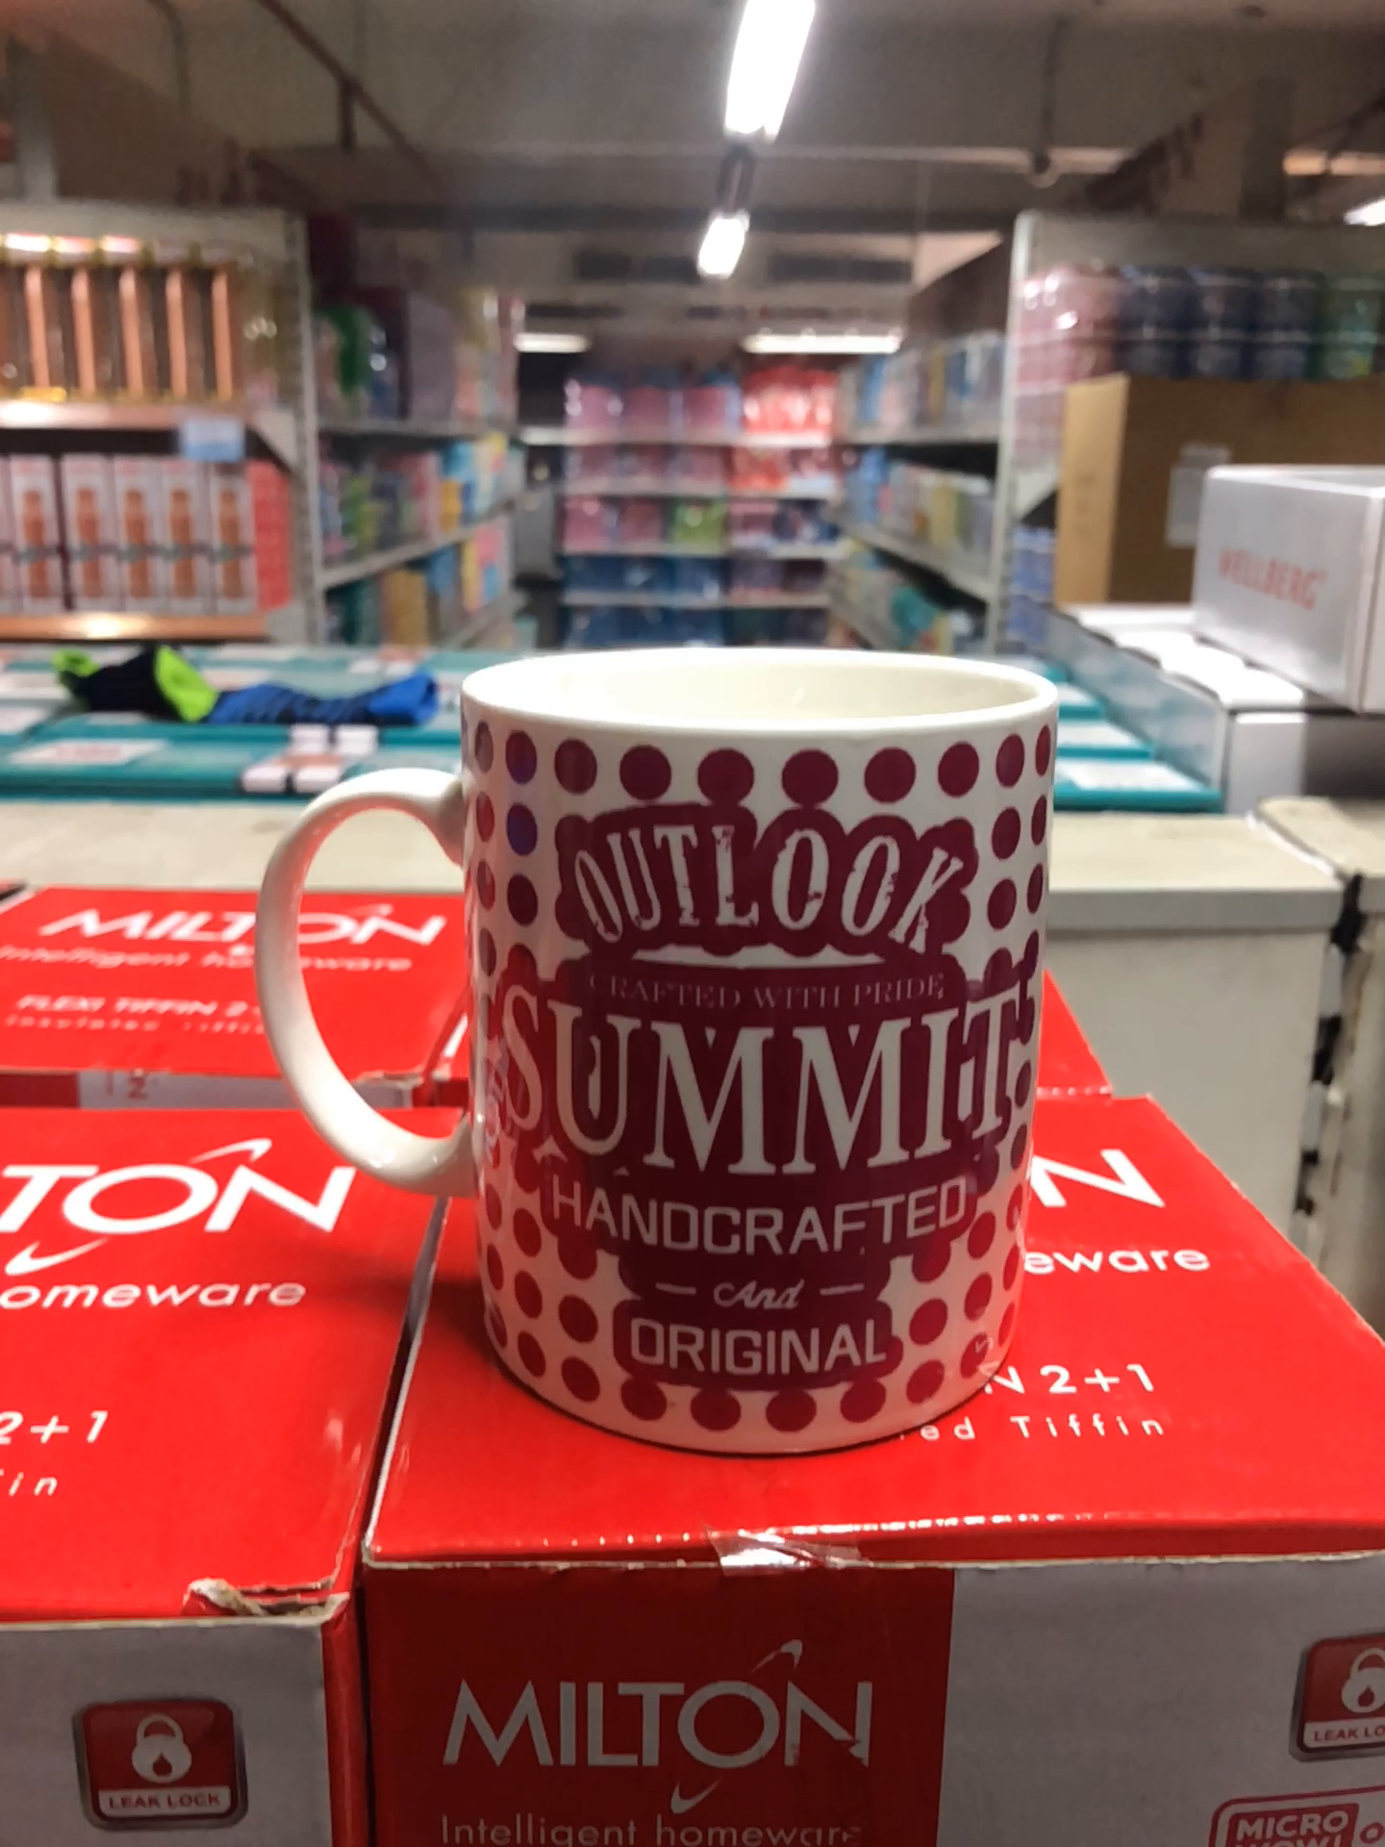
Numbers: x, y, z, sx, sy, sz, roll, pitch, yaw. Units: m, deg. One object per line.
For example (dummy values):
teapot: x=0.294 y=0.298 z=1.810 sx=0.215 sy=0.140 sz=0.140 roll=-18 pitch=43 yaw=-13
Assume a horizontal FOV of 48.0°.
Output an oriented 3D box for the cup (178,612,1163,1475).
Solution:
cup: x=-0.003 y=0.011 z=0.226 sx=0.110 sy=0.100 sz=0.080 roll=1 pitch=17 yaw=0
